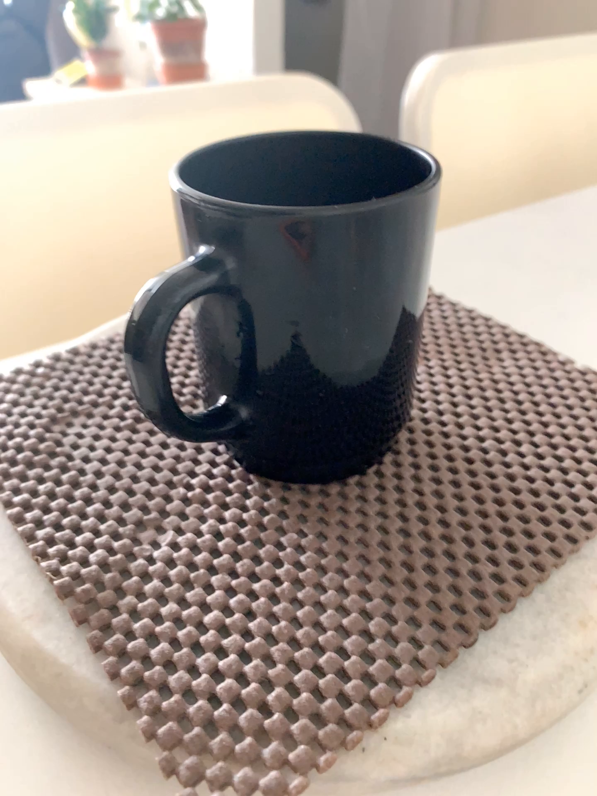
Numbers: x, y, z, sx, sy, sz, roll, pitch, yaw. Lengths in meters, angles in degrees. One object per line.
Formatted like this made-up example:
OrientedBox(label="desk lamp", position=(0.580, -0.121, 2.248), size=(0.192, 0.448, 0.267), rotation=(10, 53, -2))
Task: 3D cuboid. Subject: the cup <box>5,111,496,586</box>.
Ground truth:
OrientedBox(label="cup", position=(-0.004, -0.025, 0.178), size=(0.076, 0.080, 0.101), rotation=(20, 41, 26))
